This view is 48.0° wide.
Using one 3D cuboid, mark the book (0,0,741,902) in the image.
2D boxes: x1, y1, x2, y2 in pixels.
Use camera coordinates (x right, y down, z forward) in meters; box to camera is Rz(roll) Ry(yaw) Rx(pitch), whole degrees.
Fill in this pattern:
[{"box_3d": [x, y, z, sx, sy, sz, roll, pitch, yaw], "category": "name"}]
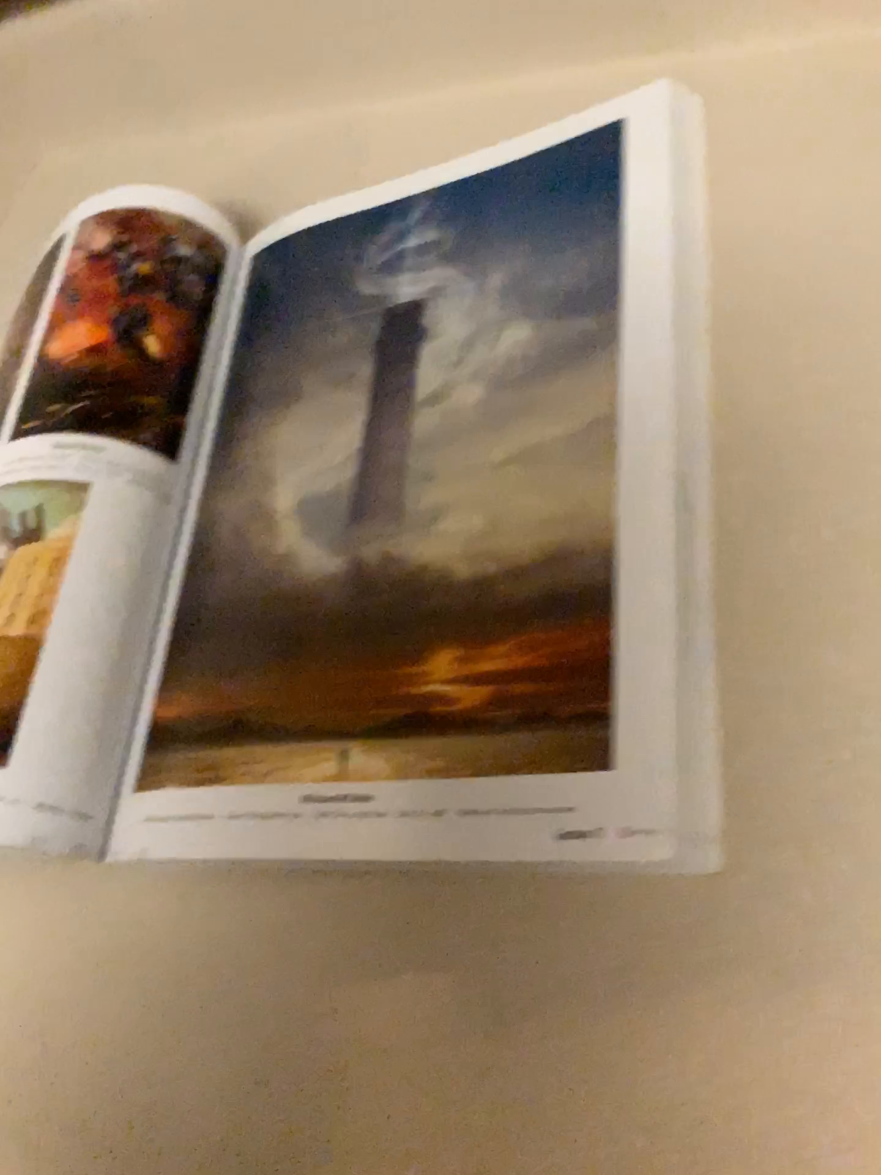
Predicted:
[{"box_3d": [-0.116, -0.046, 0.410, 0.450, 0.070, 0.320, -9, 61, 30], "category": "book"}]
